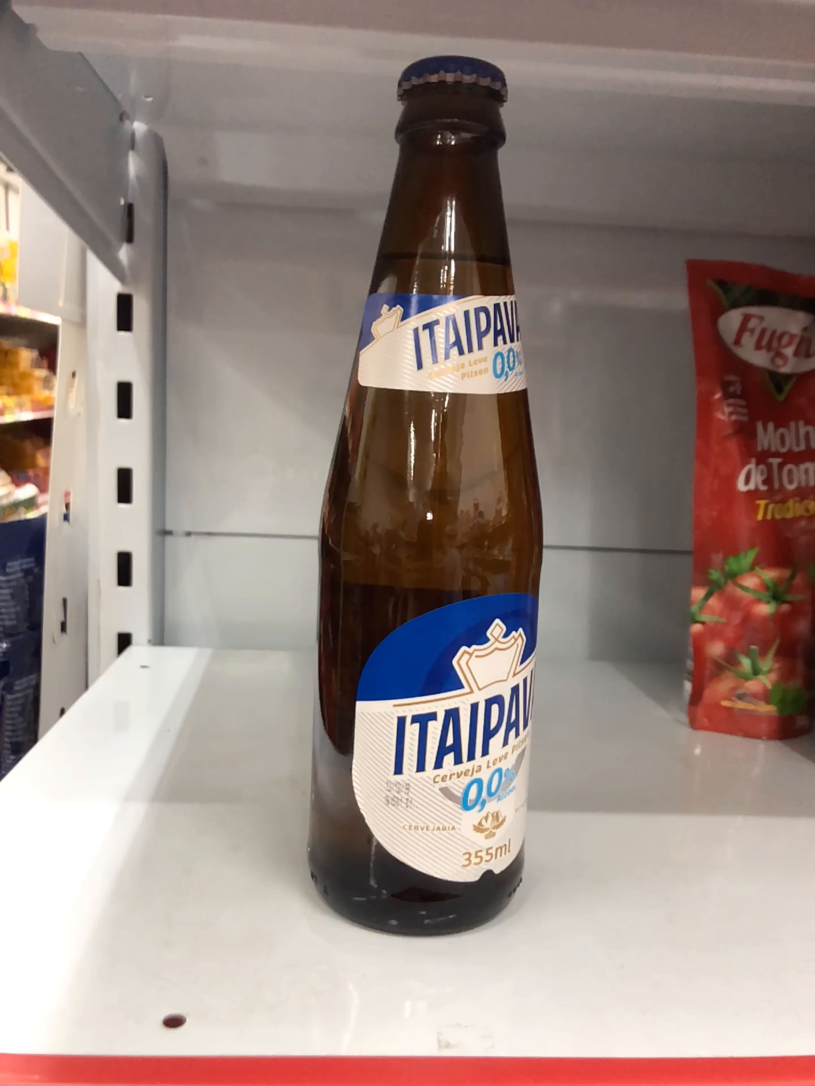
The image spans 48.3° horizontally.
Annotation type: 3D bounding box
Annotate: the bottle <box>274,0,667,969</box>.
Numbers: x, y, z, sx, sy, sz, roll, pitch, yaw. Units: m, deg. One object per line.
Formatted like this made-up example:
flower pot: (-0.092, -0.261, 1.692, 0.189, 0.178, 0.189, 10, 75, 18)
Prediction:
bottle: (0.009, -0.018, 0.220, 0.060, 0.209, 0.060, 3, 9, 0)
